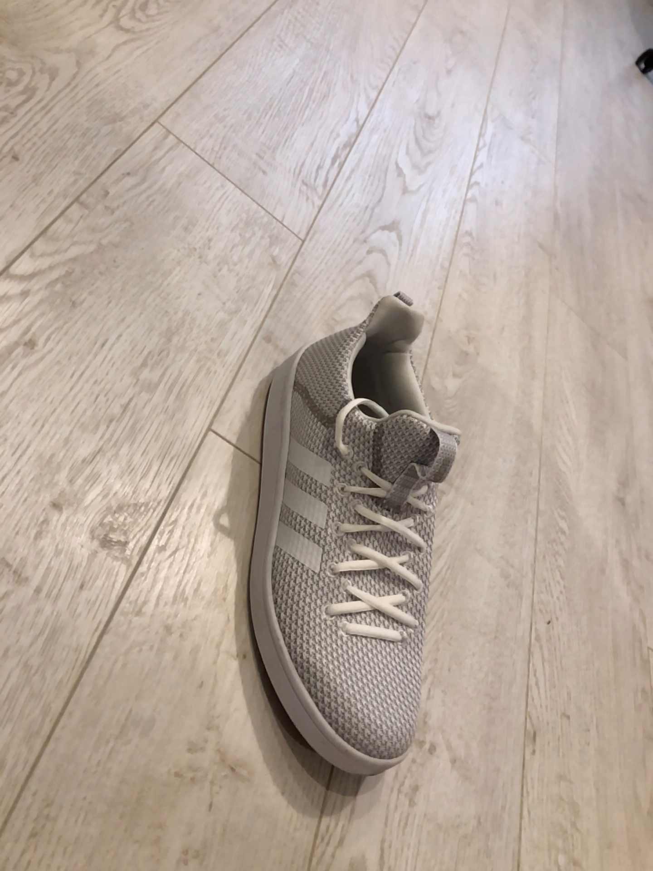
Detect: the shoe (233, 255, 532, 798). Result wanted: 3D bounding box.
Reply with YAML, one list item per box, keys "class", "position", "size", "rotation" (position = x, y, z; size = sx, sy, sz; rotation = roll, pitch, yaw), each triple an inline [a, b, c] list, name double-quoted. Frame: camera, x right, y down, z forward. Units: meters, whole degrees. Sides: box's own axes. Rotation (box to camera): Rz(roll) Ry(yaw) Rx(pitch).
- class: "shoe"
  position: [0.017, 0.049, 0.435]
  size: [0.100, 0.109, 0.291]
  rotation: [17, 53, -33]
